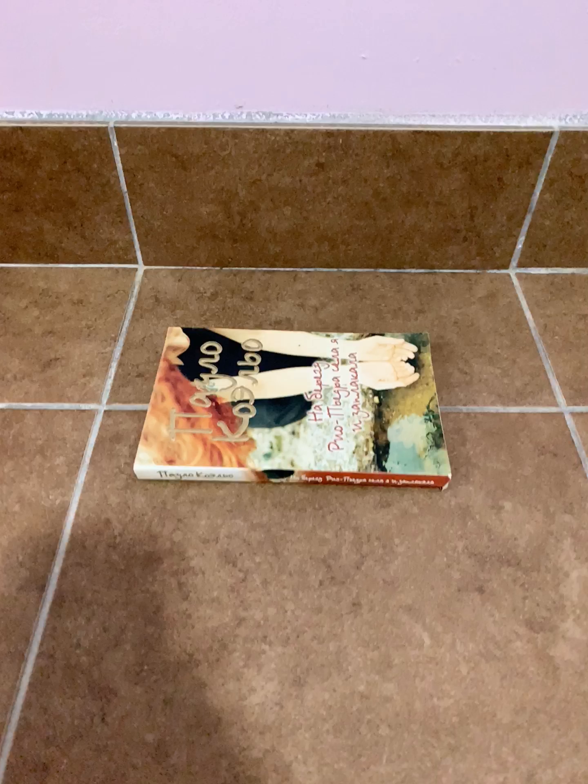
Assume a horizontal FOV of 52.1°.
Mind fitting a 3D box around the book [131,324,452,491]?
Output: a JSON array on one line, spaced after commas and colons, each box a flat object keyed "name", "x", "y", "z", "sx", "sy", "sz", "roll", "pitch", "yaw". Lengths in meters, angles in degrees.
[{"name": "book", "x": 0.000, "y": 0.005, "z": 0.385, "sx": 0.181, "sy": 0.016, "sz": 0.120, "roll": 1, "pitch": 48, "yaw": 1}]
